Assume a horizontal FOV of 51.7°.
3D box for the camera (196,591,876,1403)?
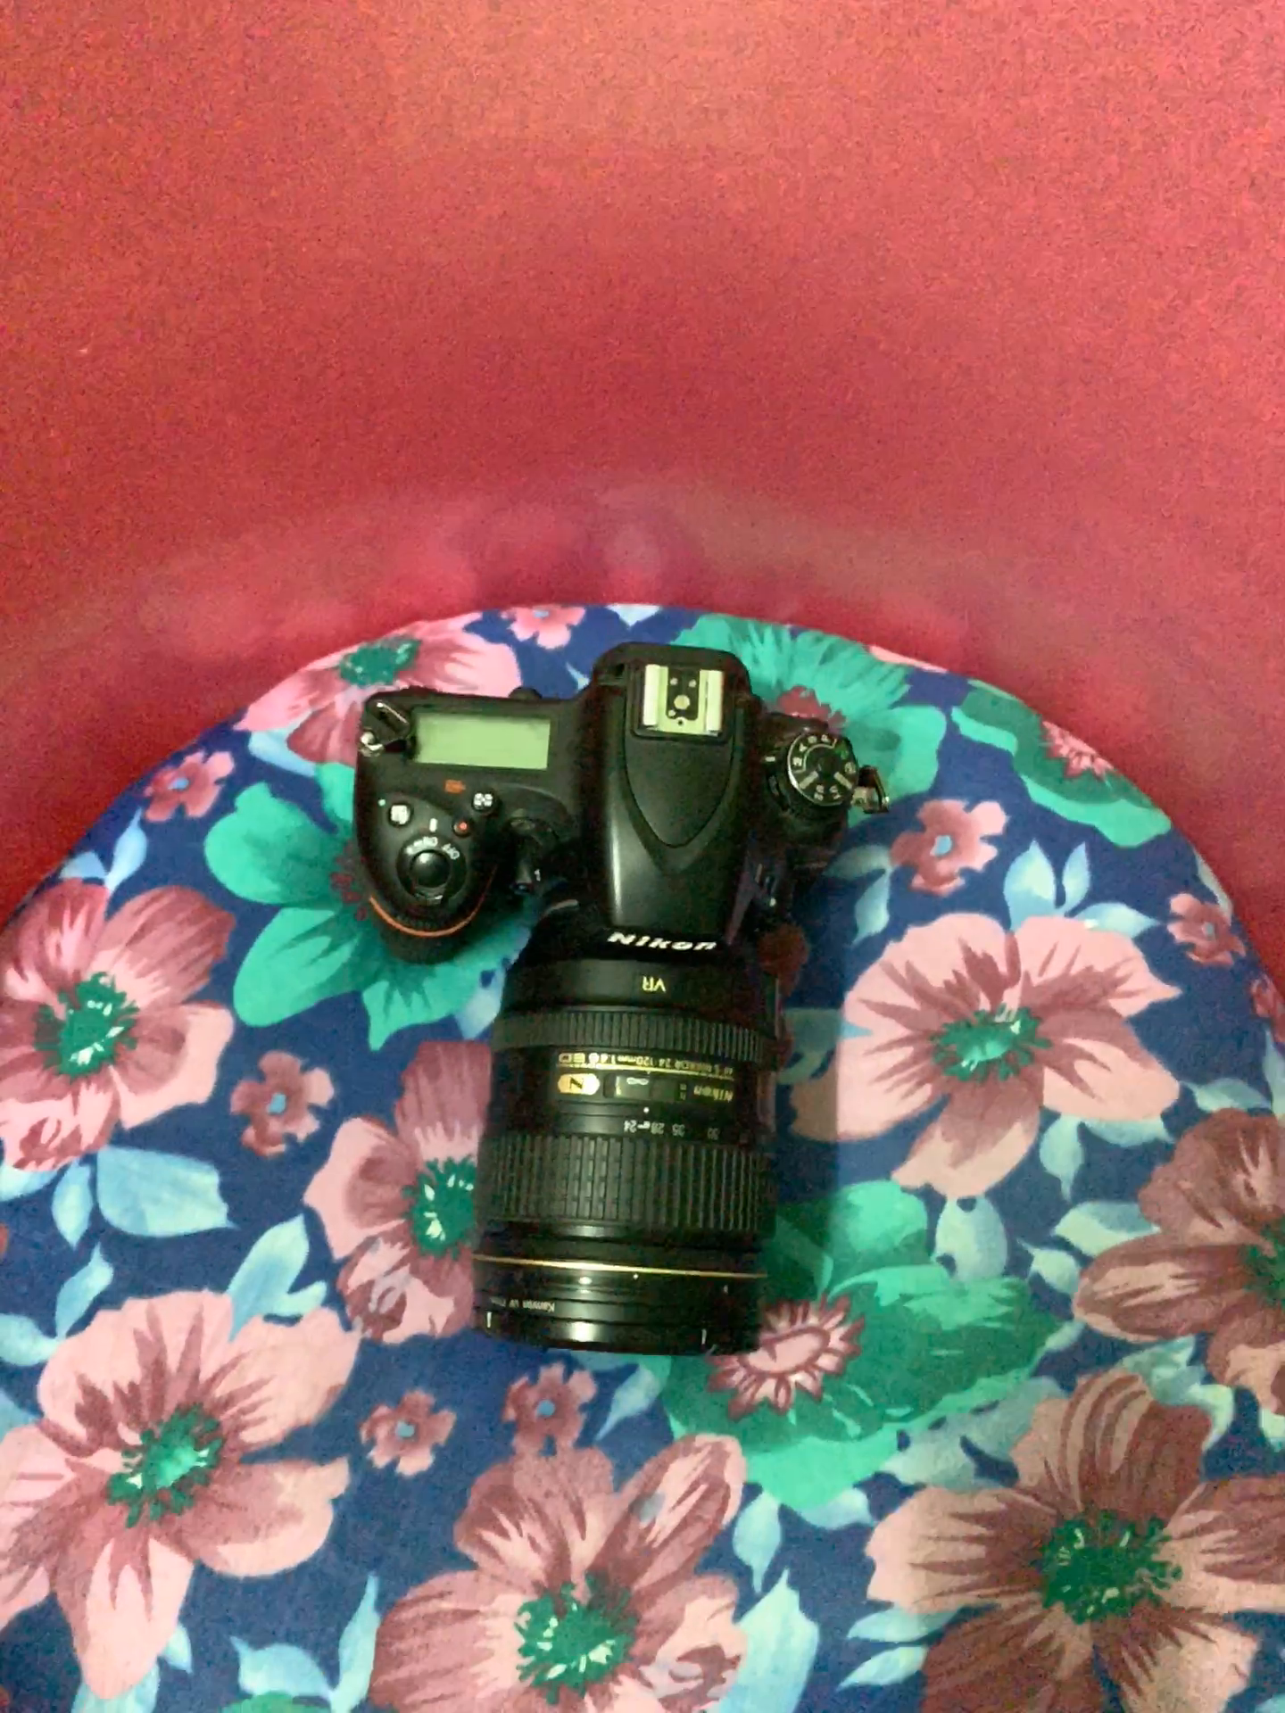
[{"bbox_3d":[-0.019,0.041,0.356,0.140,0.111,0.180,4,71,-1],"label":"camera"}]
